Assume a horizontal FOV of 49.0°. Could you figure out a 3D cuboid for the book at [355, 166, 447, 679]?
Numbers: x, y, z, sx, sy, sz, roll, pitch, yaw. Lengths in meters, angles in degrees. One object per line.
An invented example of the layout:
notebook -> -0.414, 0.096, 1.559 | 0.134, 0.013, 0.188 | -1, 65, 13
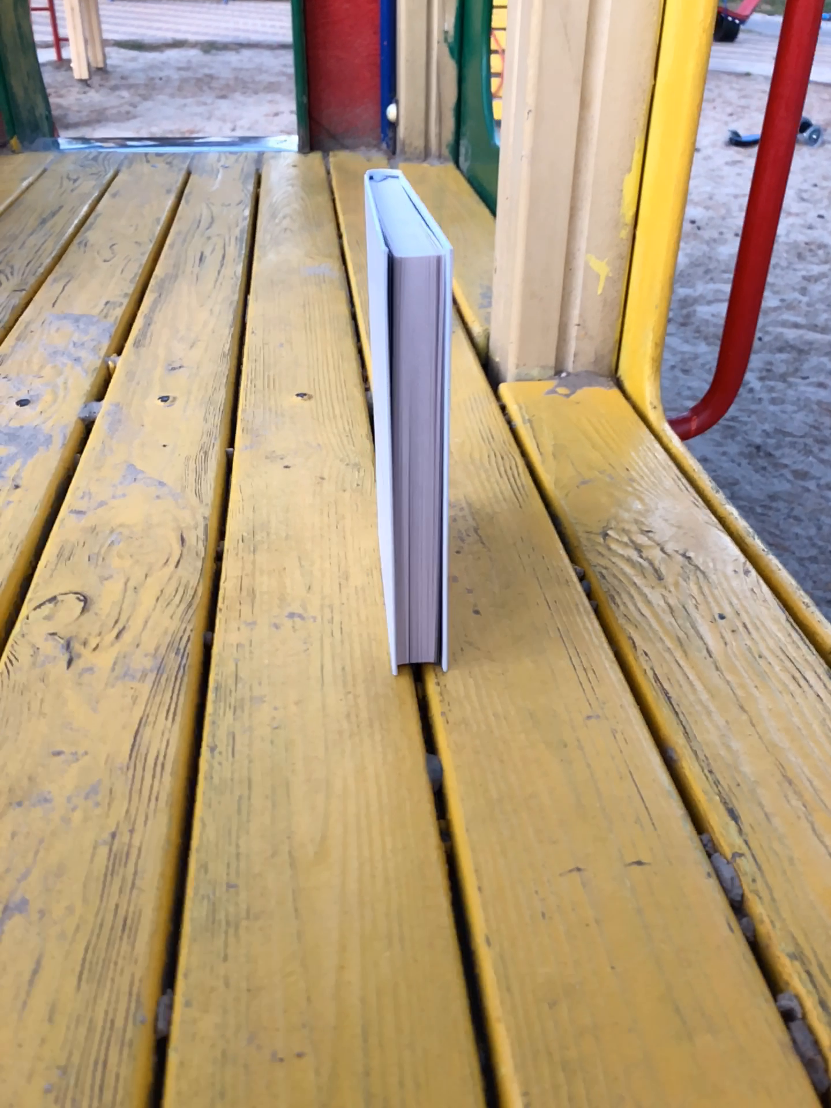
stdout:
book -> -0.008, -0.069, 0.460 | 0.030, 0.208, 0.155 | -3, 33, -3
